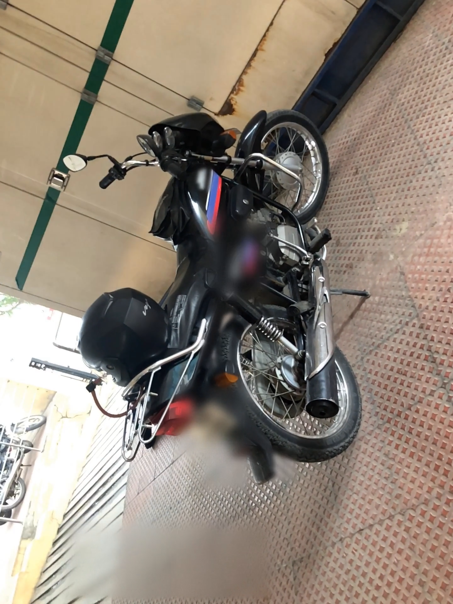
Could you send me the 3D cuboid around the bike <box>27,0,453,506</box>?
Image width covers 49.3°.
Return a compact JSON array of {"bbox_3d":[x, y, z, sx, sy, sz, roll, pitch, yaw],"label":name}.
[{"bbox_3d":[0.145,-0.307,2.026,0.736,1.088,1.862,-44,30,46],"label":"bike"}]
